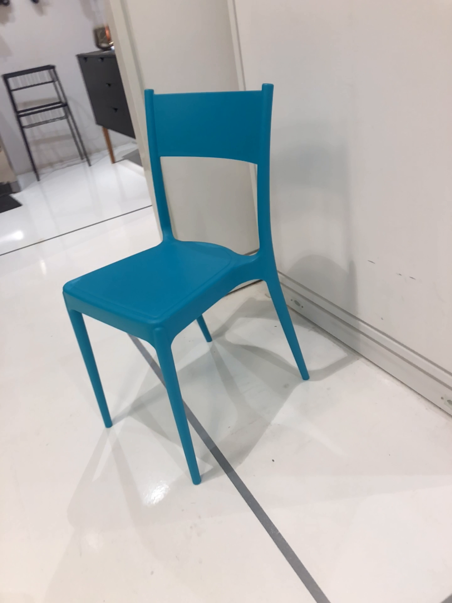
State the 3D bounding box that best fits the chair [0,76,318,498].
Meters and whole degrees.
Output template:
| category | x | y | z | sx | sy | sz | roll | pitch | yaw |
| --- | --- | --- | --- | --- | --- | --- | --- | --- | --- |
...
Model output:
| category | x | y | z | sx | sy | sz | roll | pitch | yaw |
| --- | --- | --- | --- | --- | --- | --- | --- | --- | --- |
| chair | -0.125 | -0.064 | 1.224 | 0.432 | 0.794 | 0.512 | 18 | 40 | 40 |
